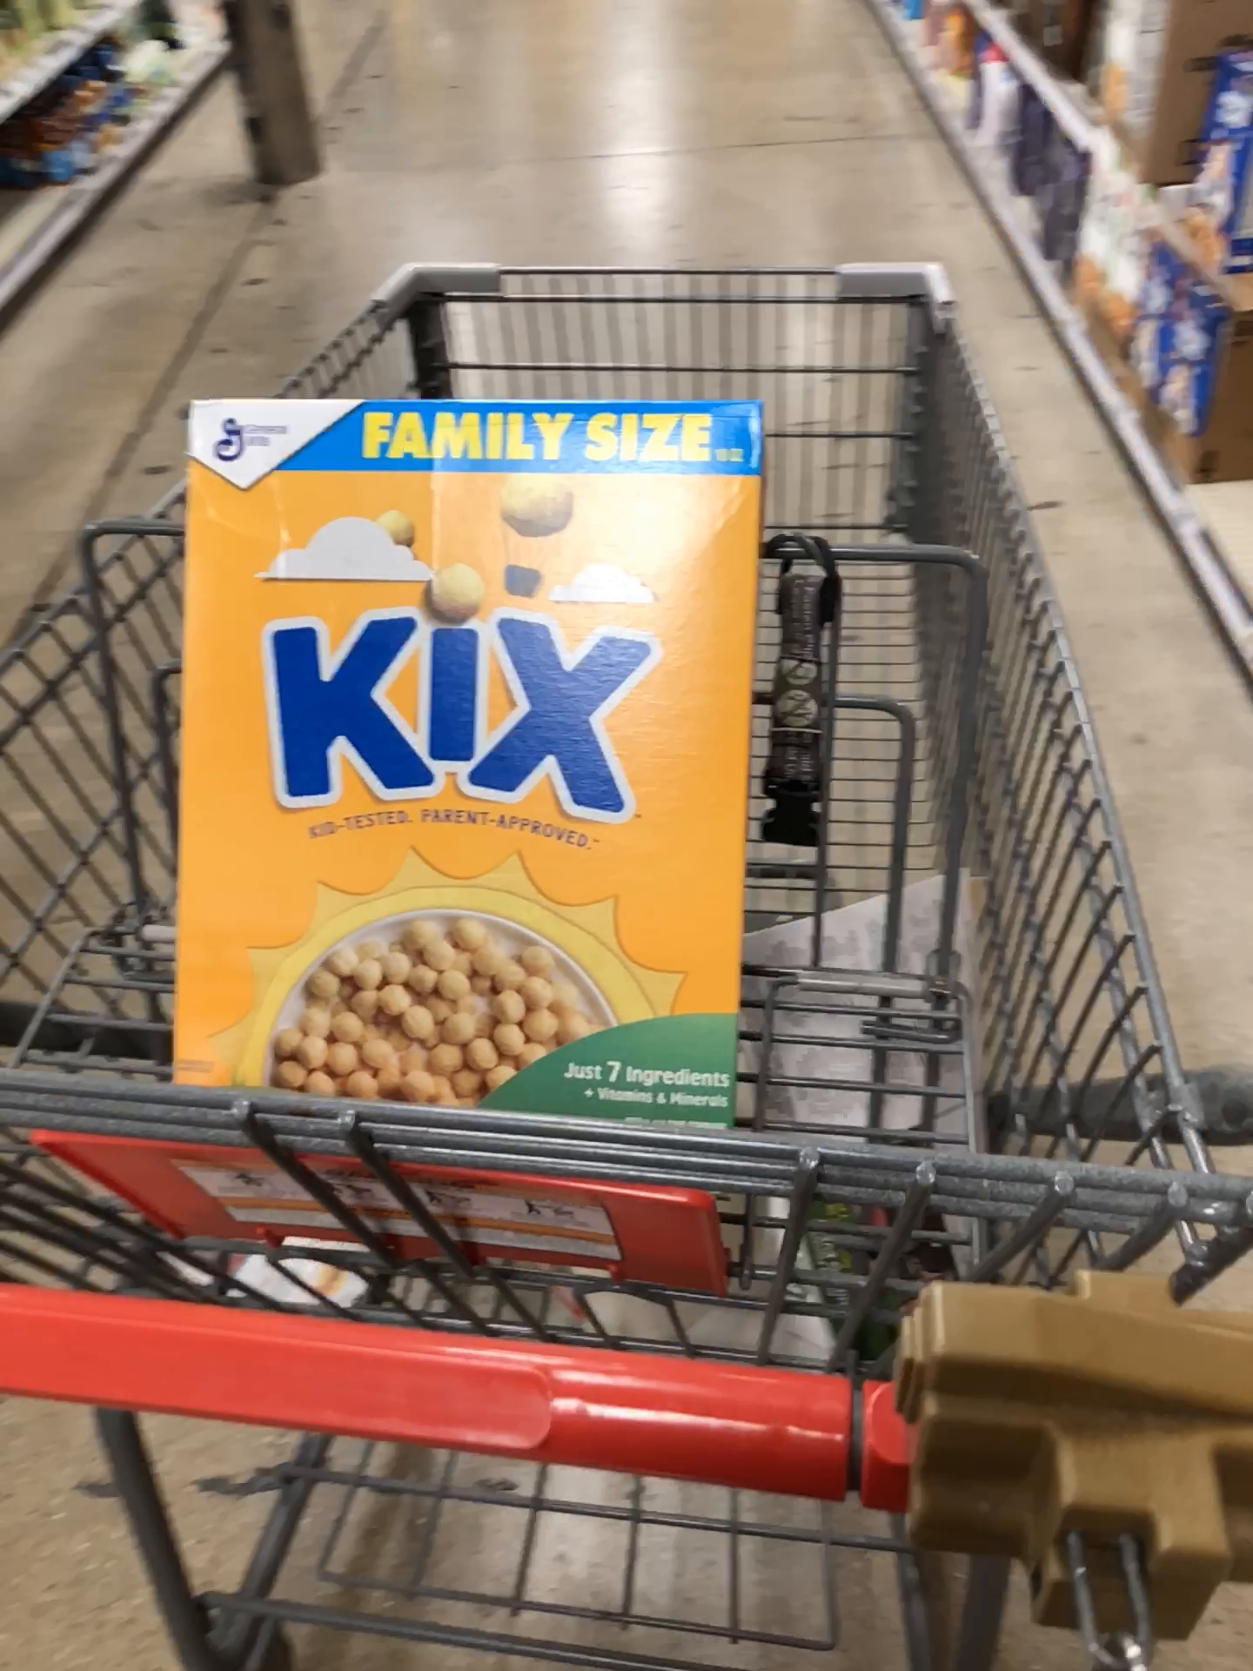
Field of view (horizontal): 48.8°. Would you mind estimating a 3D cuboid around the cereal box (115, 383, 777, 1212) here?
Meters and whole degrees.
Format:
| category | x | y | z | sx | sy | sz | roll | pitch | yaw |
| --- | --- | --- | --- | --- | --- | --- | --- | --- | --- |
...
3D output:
| category | x | y | z | sx | sy | sz | roll | pitch | yaw |
| --- | --- | --- | --- | --- | --- | --- | --- | --- | --- |
| cereal box | -0.074 | -0.019 | 0.586 | 0.260 | 0.320 | 0.070 | 2 | 2 | 8 |
